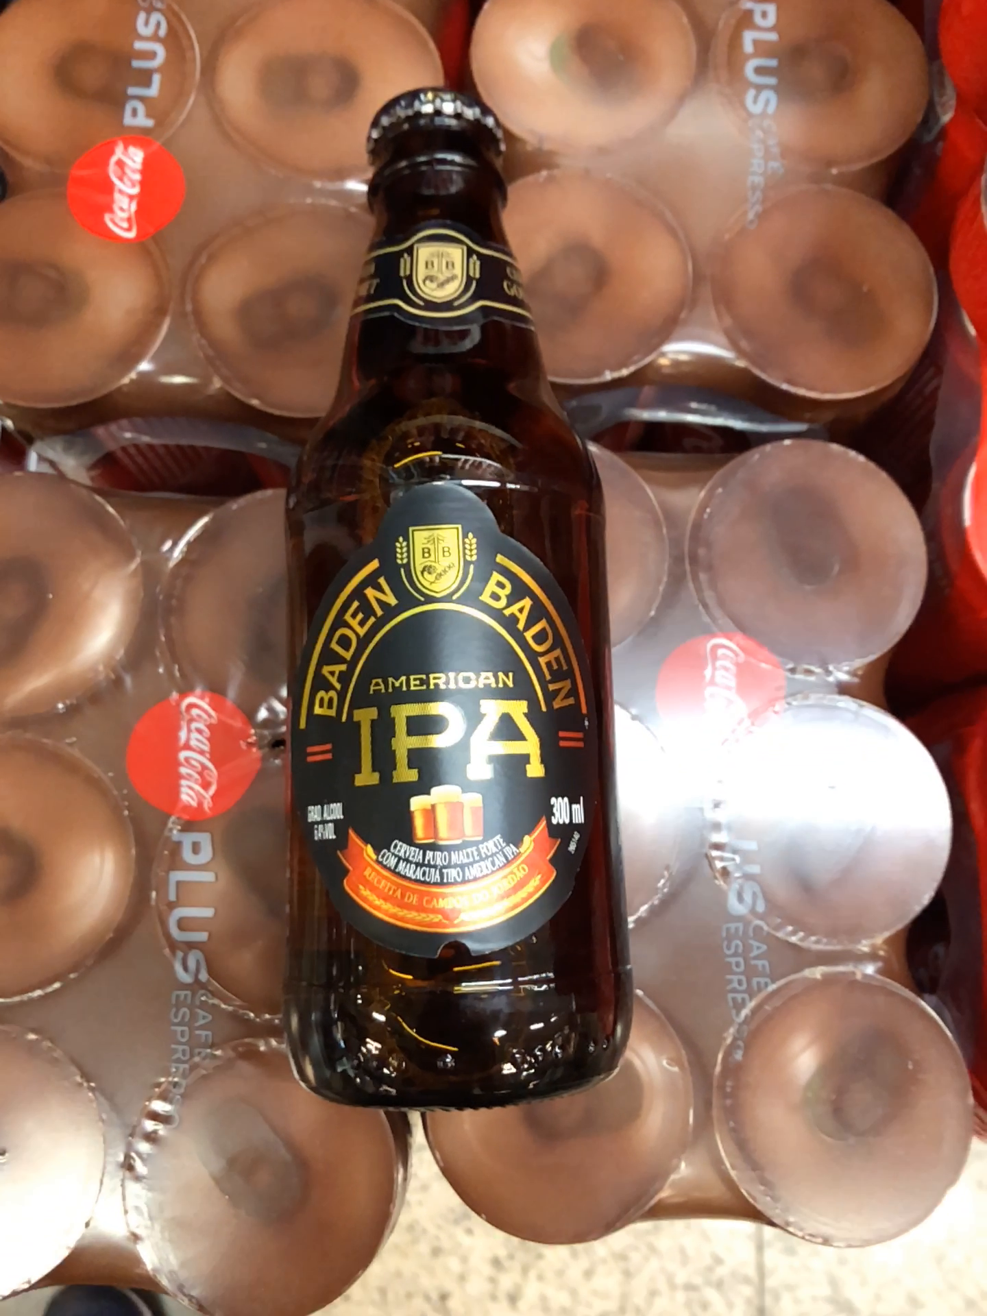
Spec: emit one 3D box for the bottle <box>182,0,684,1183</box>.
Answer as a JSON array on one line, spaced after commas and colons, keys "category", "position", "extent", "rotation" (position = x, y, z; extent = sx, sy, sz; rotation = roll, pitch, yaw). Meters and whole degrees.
[{"category": "bottle", "position": [-0.013, -0.027, 0.199], "extent": [0.070, 0.050, 0.210], "rotation": [-2, 79, -2]}]
